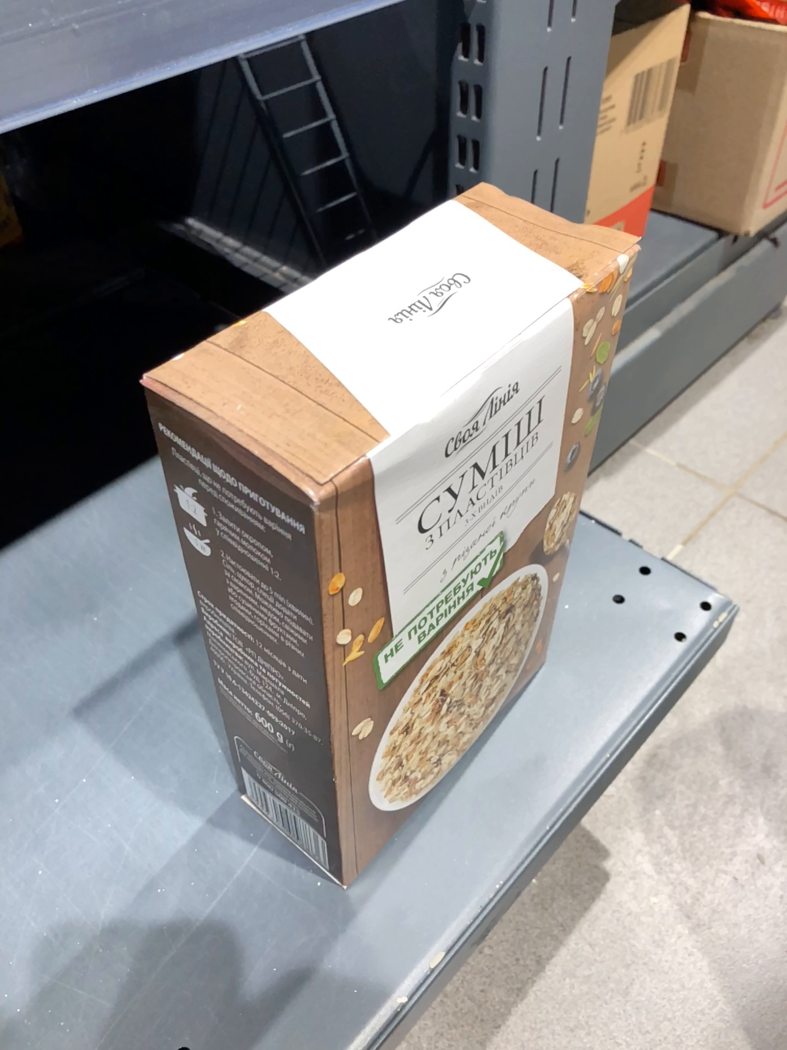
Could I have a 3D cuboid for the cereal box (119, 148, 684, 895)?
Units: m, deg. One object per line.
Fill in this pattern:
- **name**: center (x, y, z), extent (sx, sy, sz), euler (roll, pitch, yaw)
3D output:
- **cereal box**: center (0.011, 0.007, 0.306), extent (0.060, 0.208, 0.161), euler (32, 53, 27)
